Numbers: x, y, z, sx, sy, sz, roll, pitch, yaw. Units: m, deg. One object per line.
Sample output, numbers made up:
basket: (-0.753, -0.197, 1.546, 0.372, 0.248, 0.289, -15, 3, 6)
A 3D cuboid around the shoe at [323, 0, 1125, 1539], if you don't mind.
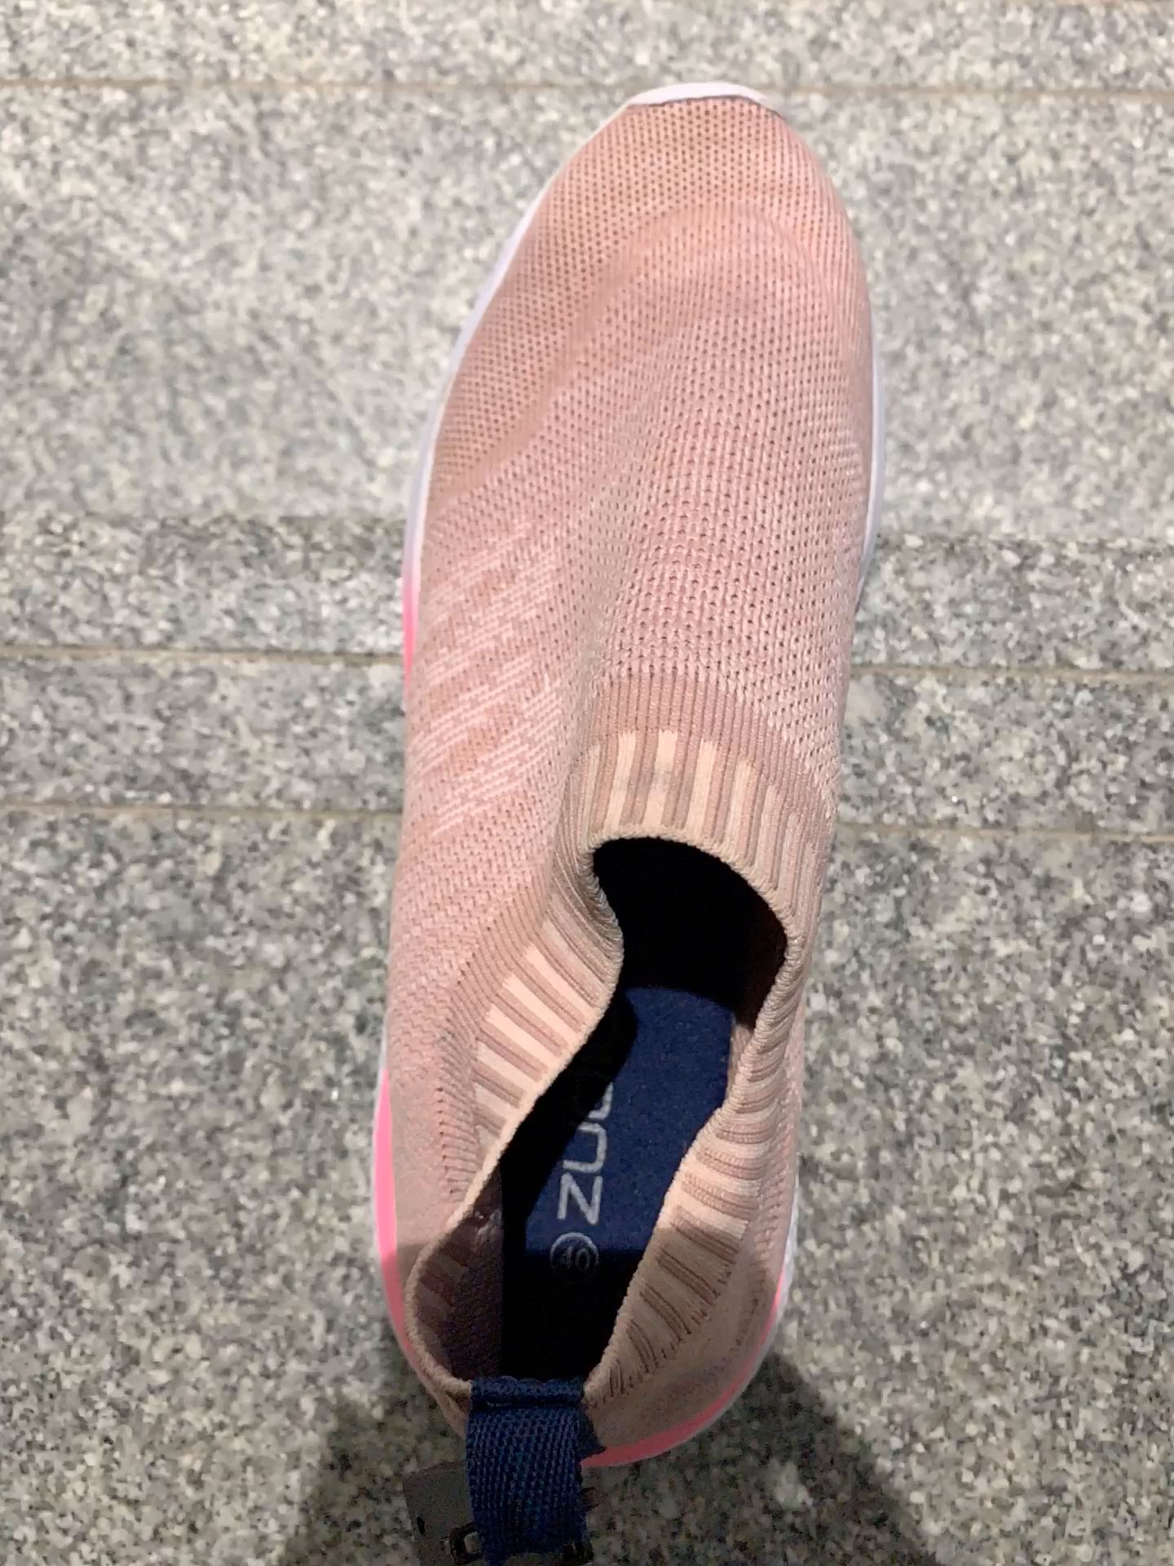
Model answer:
shoe: (0.025, -0.013, 0.234, 0.100, 0.080, 0.250, 6, 86, 2)
